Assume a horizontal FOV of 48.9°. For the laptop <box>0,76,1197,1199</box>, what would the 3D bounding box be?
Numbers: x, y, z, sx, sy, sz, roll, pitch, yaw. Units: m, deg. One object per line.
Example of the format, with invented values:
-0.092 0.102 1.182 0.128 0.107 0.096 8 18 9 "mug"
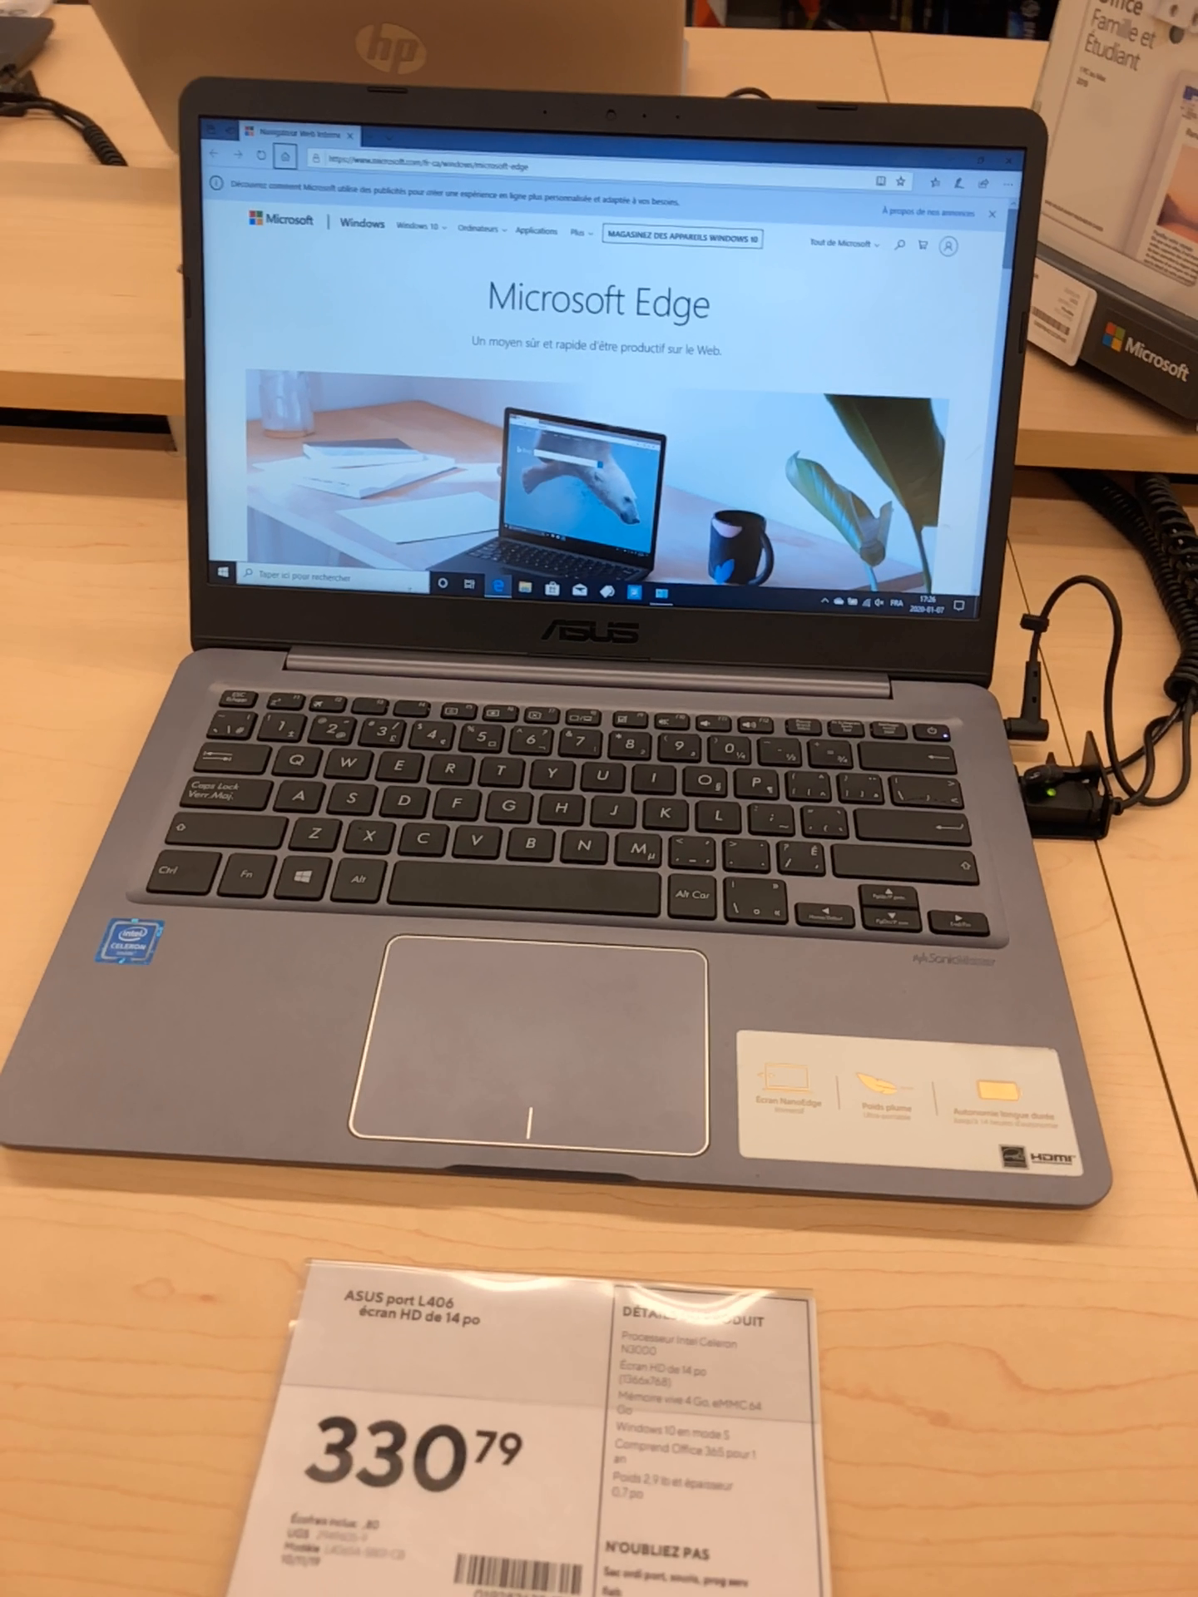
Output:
-0.005 -0.075 0.427 0.309 0.173 0.328 3 47 1 "laptop"
